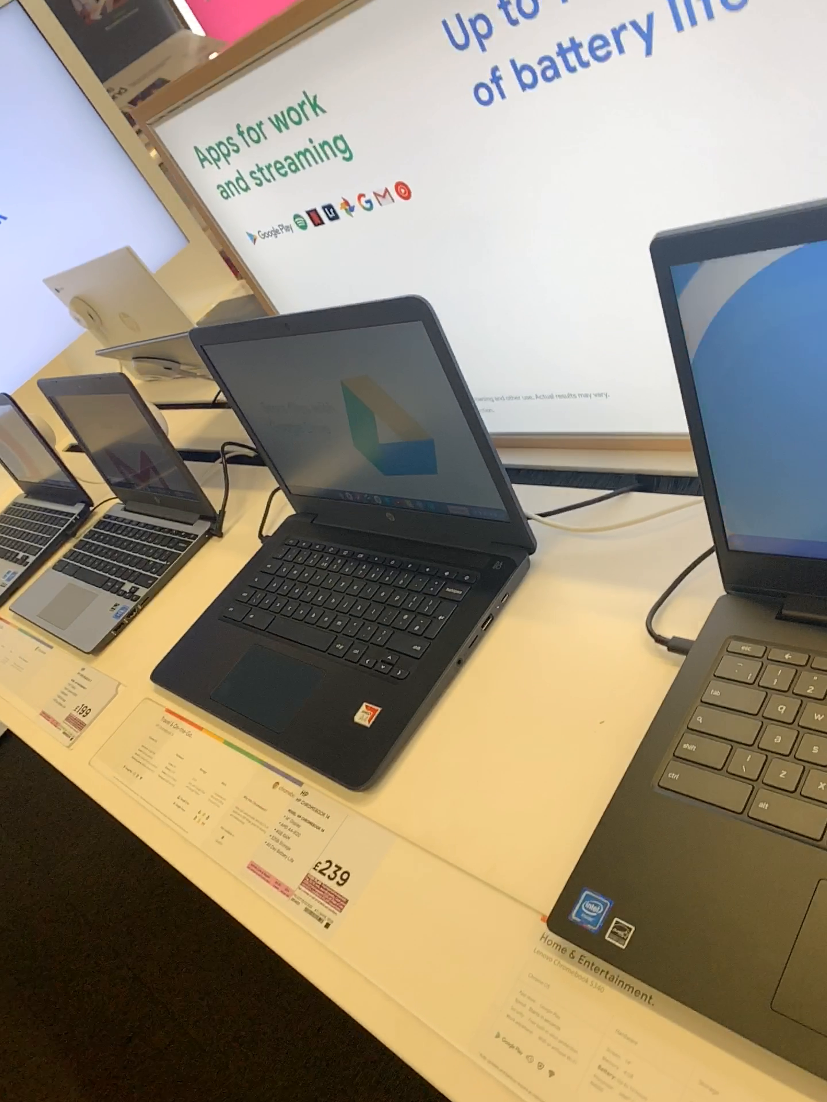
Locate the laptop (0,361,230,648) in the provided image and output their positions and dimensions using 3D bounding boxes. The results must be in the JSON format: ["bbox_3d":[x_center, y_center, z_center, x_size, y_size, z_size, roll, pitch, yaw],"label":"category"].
[{"bbox_3d":[-0.419,-0.066,1.006,0.272,0.186,0.242,8,54,47],"label":"laptop"}]

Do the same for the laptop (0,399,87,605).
[{"bbox_3d":[-0.677,-0.081,1.262,0.336,0.189,0.191,10,55,50],"label":"laptop"}]

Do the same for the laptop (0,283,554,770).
[{"bbox_3d":[-0.120,-0.032,0.686,0.333,0.209,0.245,10,54,49],"label":"laptop"}]
